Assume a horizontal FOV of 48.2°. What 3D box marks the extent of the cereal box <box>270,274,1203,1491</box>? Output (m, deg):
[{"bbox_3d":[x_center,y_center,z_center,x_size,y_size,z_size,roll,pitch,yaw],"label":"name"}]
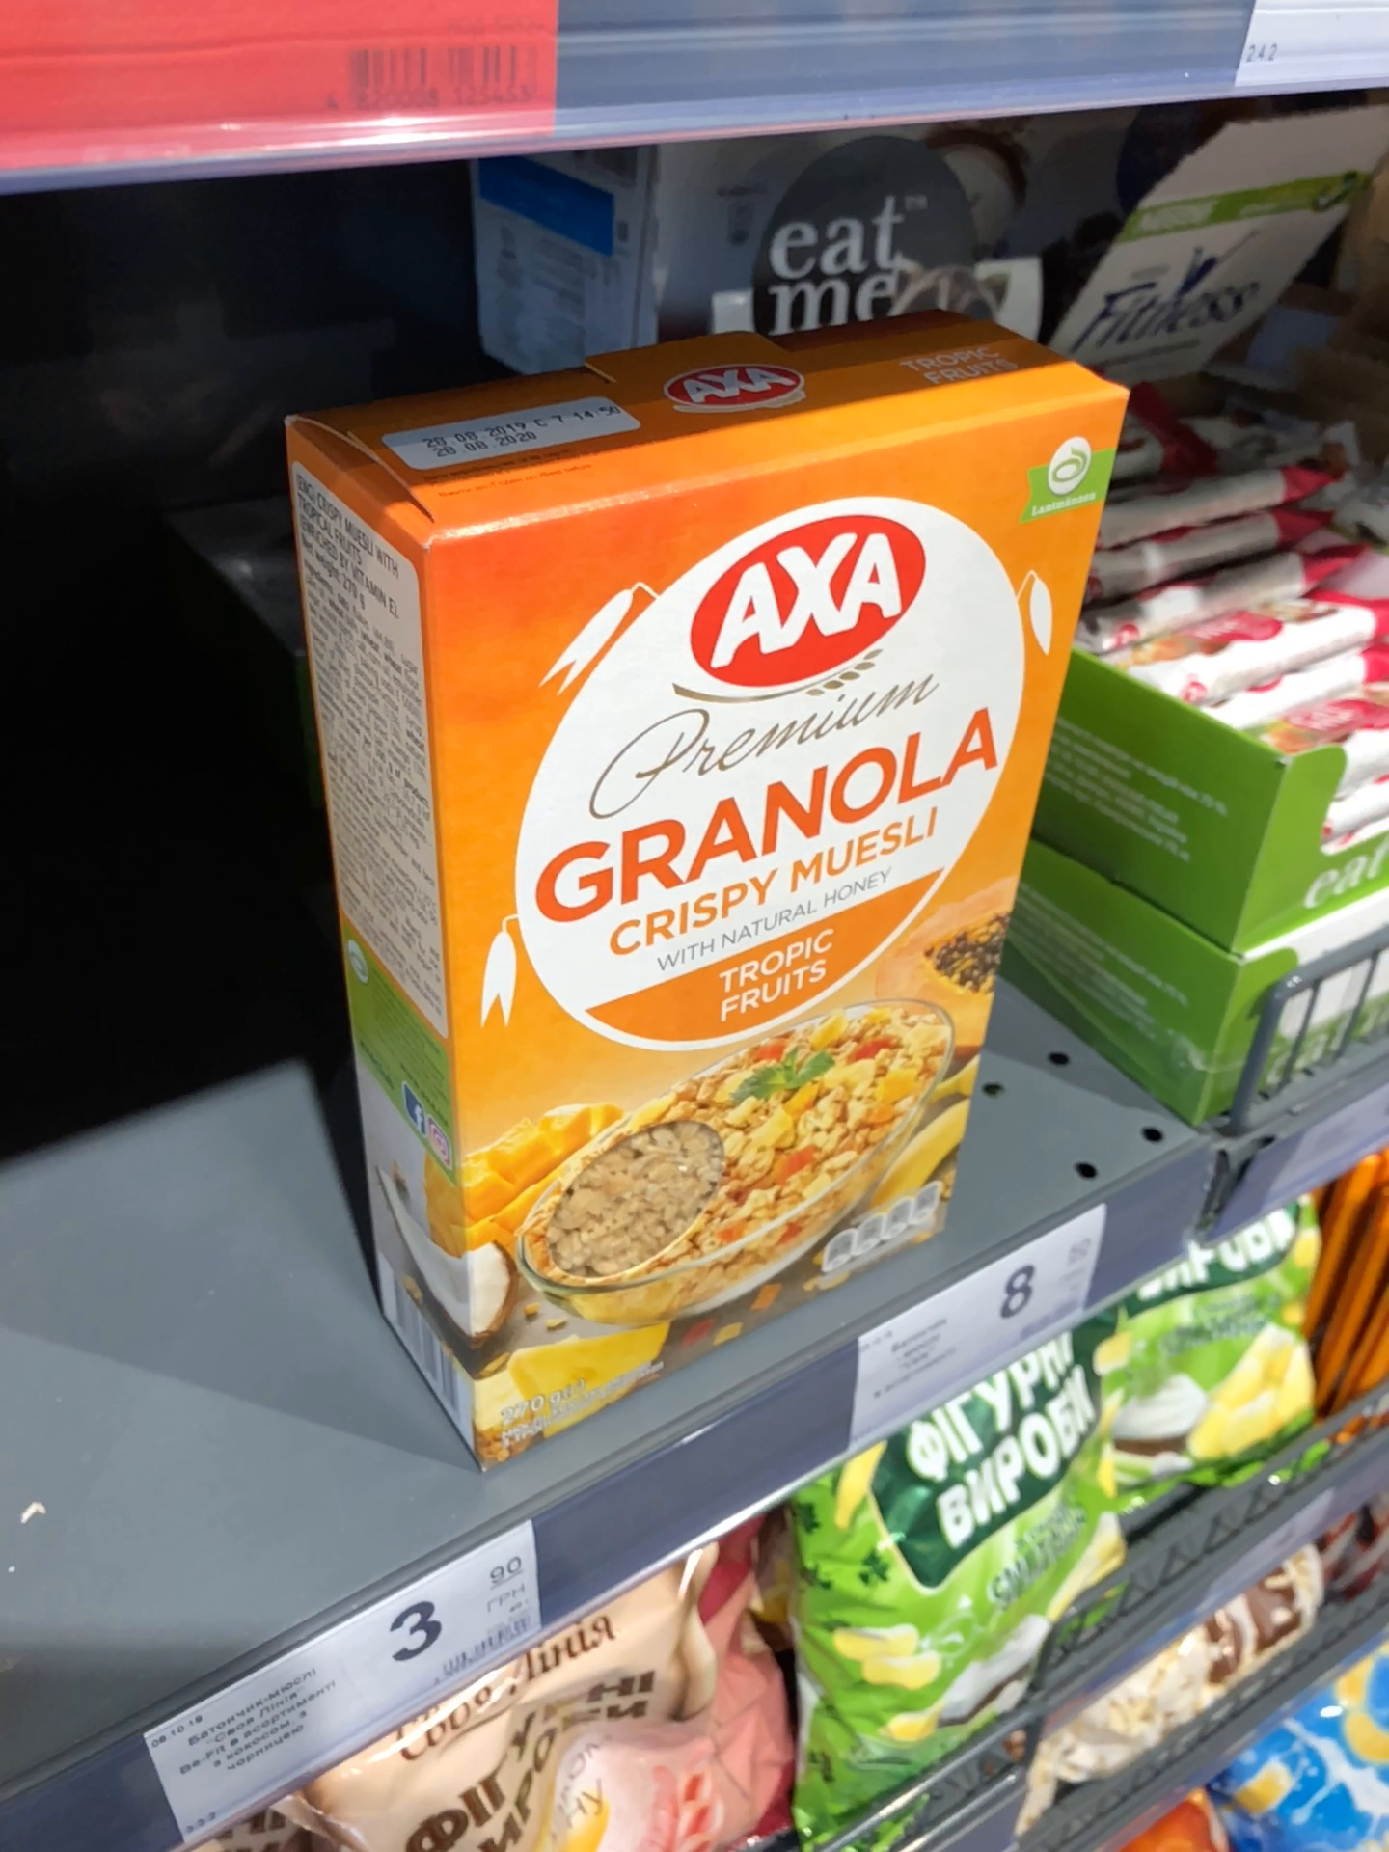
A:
[{"bbox_3d":[0.005,-0.003,0.301,0.140,0.208,0.050,-21,44,-29],"label":"cereal box"}]
